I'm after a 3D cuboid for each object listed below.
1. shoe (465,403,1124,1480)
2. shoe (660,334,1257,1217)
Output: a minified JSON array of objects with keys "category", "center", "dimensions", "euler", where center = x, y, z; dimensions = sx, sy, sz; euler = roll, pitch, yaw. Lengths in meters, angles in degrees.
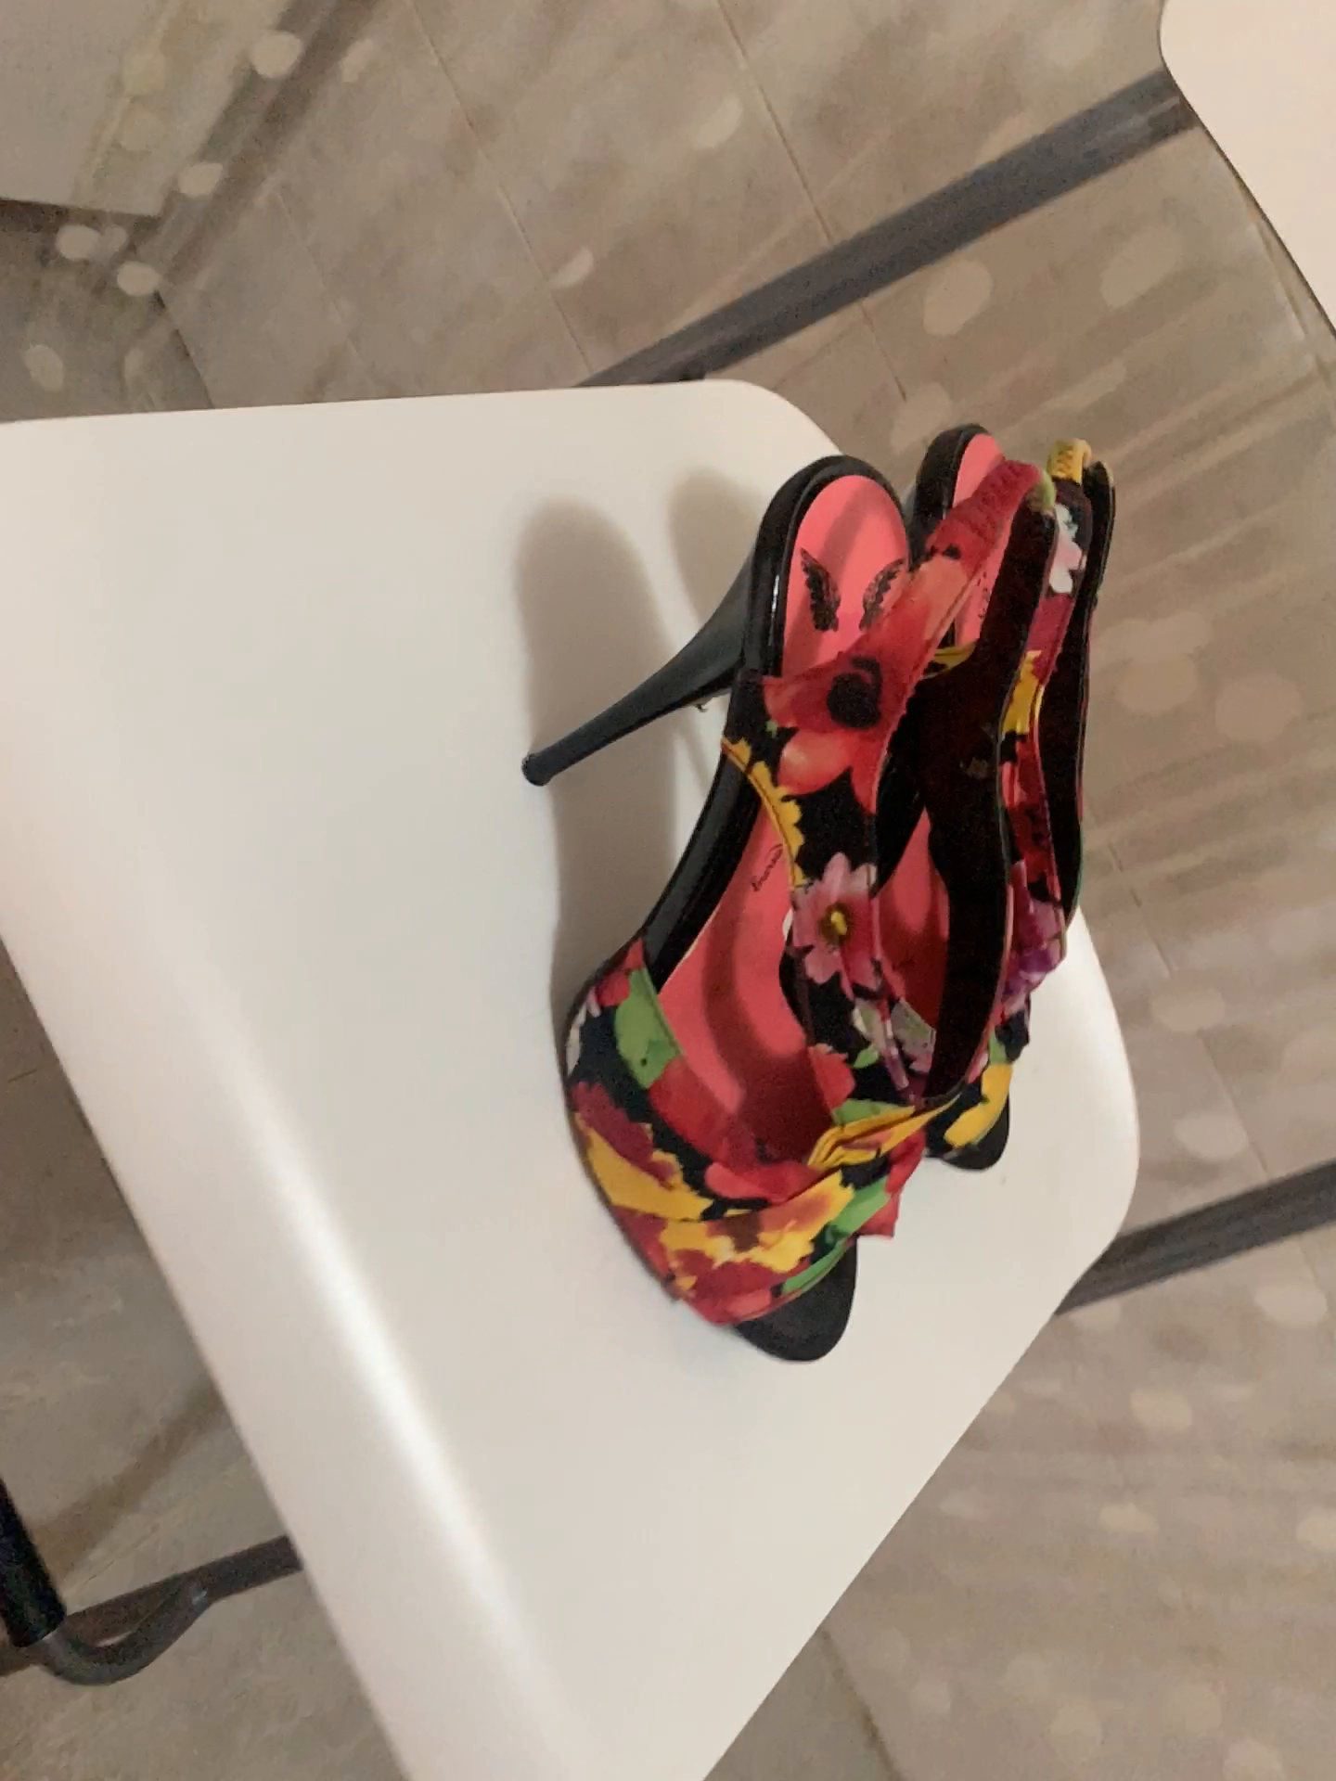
[{"category":"shoe","center":[0.033,0.007,0.305],"dimensions":[0.083,0.073,0.205],"euler":[-23,105,-43]},{"category":"shoe","center":[0.084,-0.027,0.369],"dimensions":[0.080,0.085,0.205],"euler":[-33,112,-43]}]
